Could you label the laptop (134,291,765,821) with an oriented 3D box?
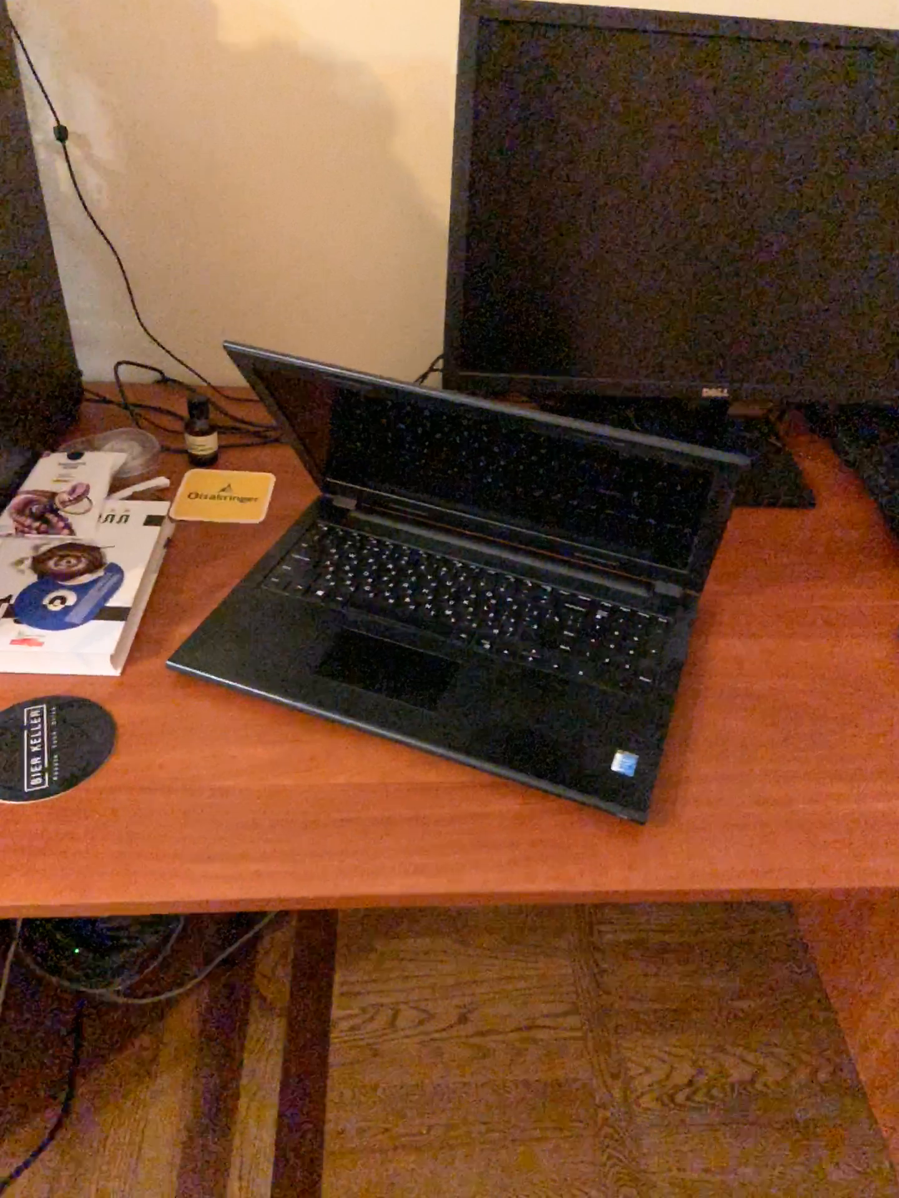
[{"bbox_3d":[0.009,-0.052,0.687,0.373,0.202,0.247,16,42,13],"label":"laptop"}]
